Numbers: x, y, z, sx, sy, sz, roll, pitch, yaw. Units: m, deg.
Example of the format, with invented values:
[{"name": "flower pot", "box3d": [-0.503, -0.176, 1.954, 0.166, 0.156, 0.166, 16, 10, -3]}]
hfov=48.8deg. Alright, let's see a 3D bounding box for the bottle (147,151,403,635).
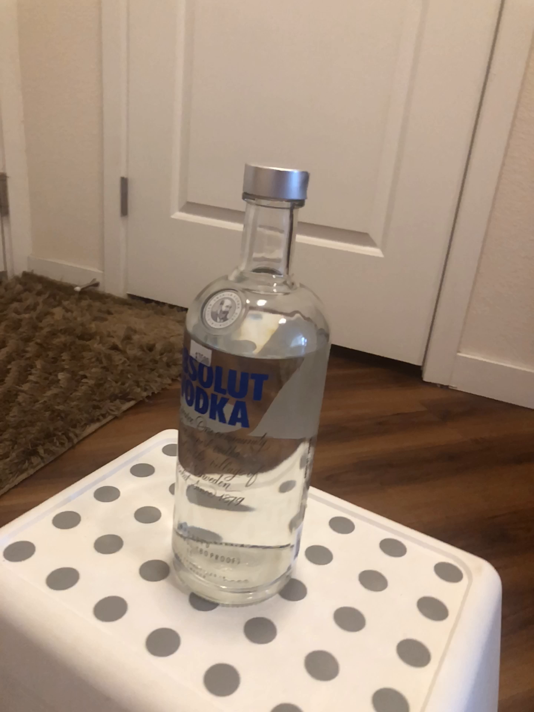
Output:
[{"name": "bottle", "box3d": [-0.007, 0.021, 0.367, 0.100, 0.269, 0.090, -11, 28, -35]}]
